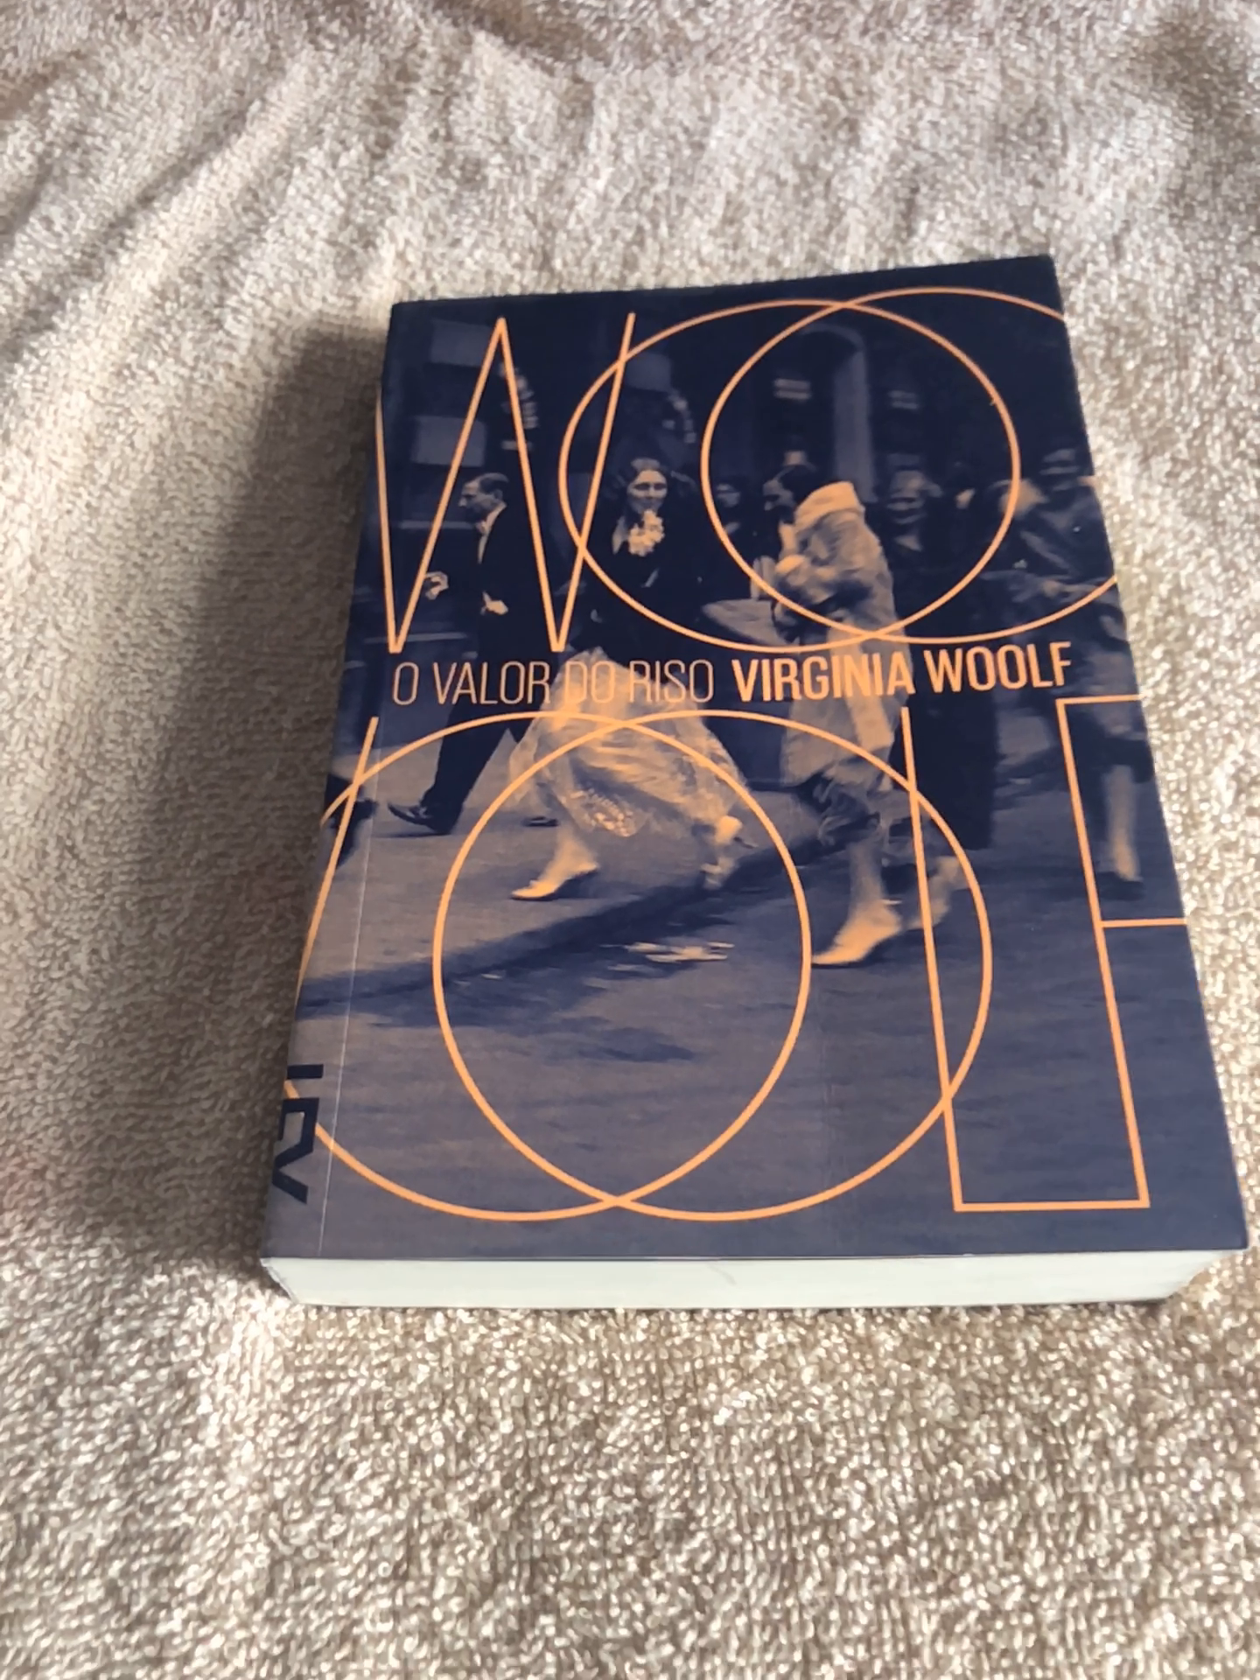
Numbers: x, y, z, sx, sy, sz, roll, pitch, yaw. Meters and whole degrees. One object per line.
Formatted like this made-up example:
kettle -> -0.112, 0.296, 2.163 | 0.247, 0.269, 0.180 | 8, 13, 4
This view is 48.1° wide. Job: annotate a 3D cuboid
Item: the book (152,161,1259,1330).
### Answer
book -> 0.015, -0.024, 0.230 | 0.140, 0.050, 0.191 | 0, 63, 1
